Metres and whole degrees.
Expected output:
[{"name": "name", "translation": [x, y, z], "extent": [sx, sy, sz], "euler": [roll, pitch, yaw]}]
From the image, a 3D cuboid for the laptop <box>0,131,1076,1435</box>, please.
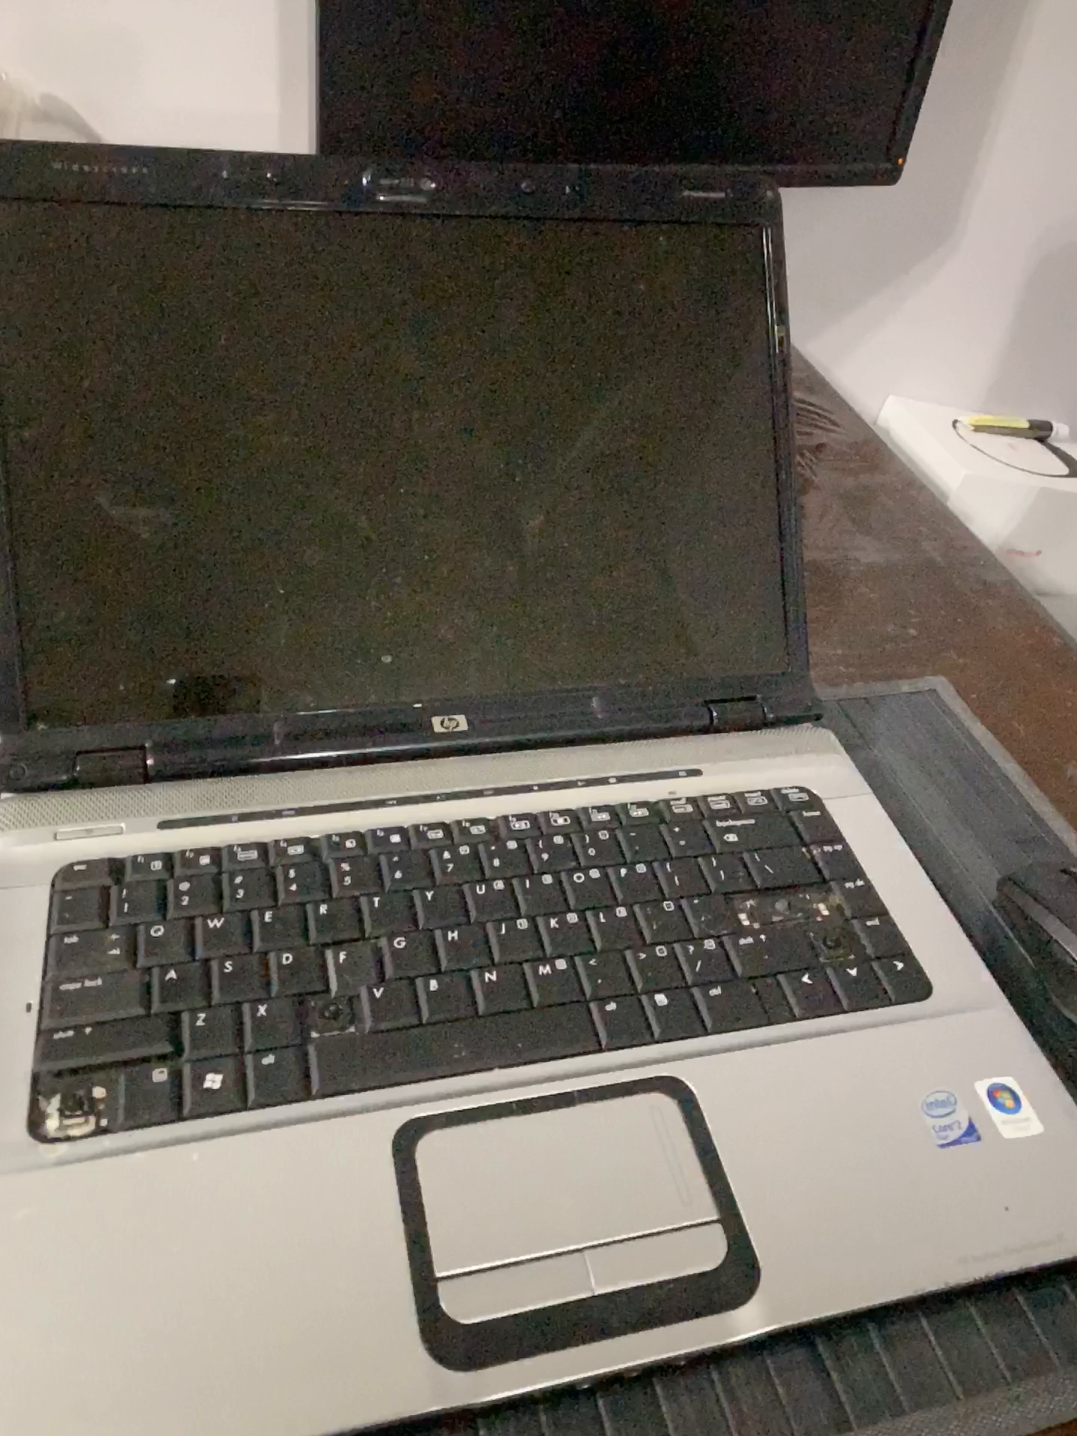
[{"name": "laptop", "translation": [-0.023, -0.035, 0.379], "extent": [0.349, 0.186, 0.404], "euler": [-5, 42, -15]}]
